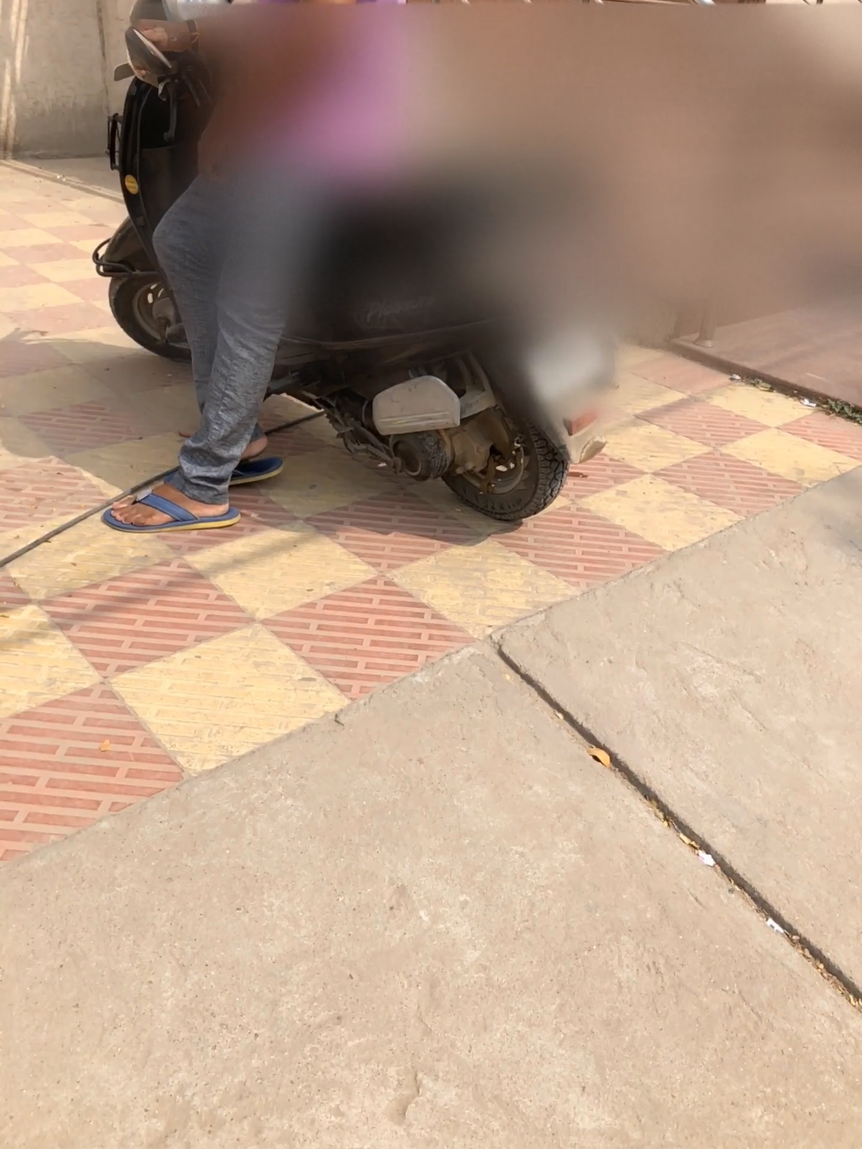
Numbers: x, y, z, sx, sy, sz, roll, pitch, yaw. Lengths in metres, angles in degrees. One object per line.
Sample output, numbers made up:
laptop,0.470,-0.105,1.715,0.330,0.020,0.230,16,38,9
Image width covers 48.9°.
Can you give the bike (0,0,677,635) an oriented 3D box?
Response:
bike,-0.456,-0.766,2.147,1.594,1.116,0.639,26,37,31
